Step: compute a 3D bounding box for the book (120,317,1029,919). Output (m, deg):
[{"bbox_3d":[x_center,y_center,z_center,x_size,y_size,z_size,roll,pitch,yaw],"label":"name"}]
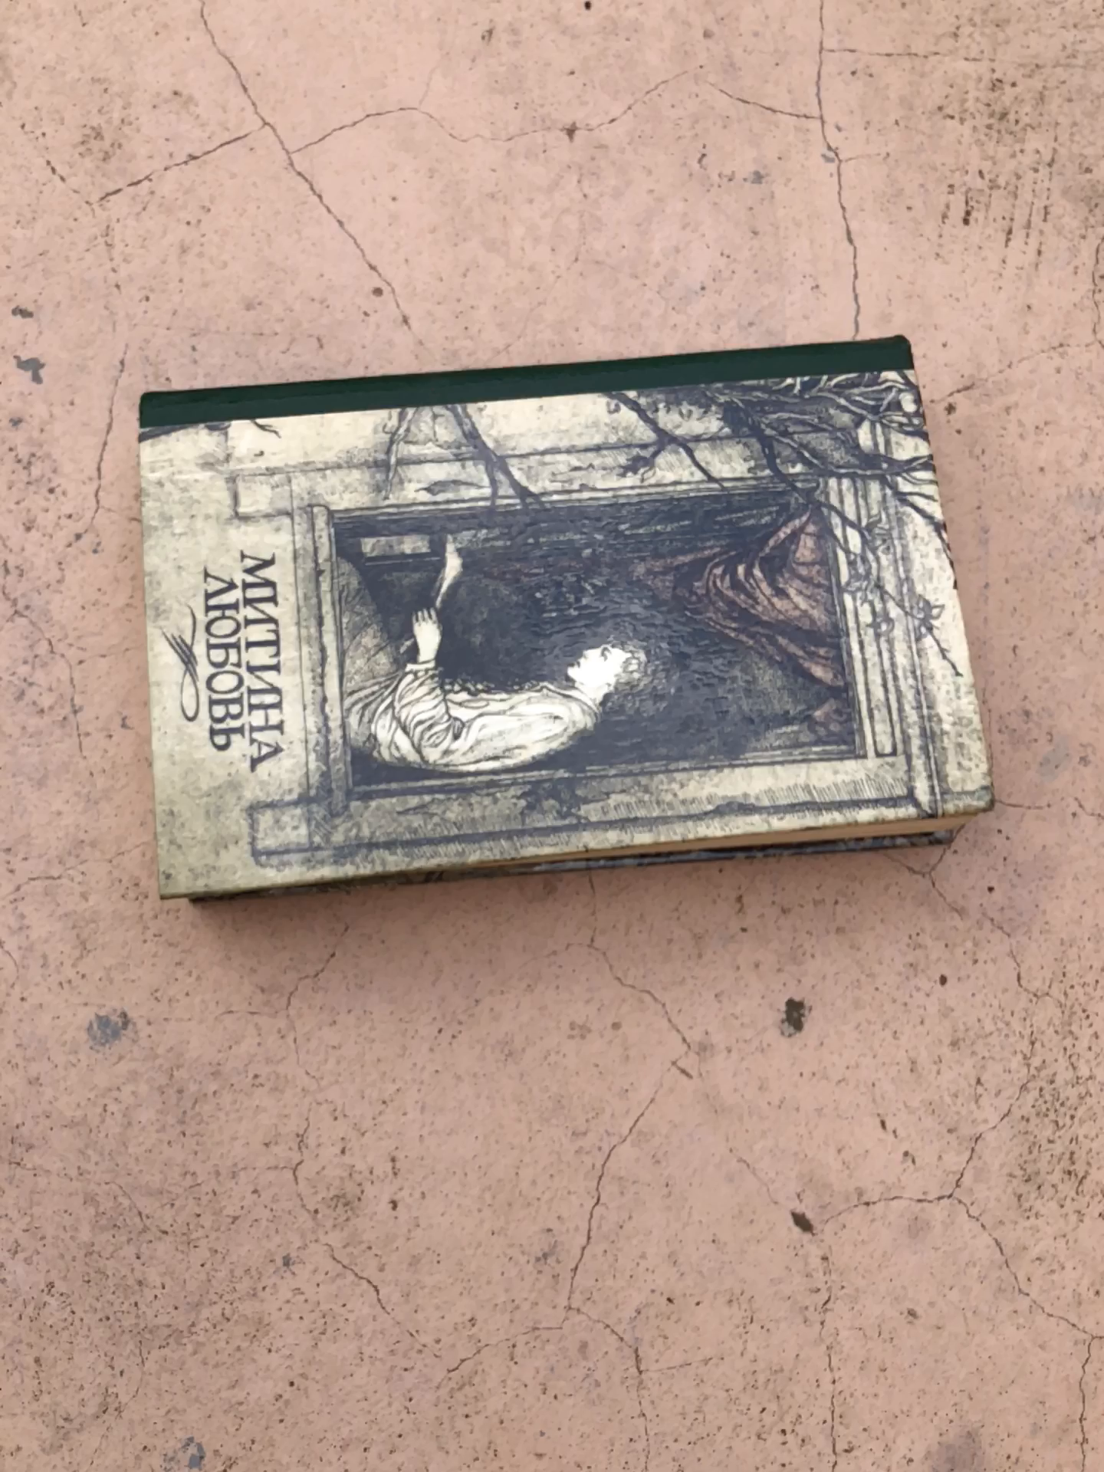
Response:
[{"bbox_3d":[0.002,-0.032,0.323,0.213,0.035,0.135,-5,79,-4],"label":"book"}]
